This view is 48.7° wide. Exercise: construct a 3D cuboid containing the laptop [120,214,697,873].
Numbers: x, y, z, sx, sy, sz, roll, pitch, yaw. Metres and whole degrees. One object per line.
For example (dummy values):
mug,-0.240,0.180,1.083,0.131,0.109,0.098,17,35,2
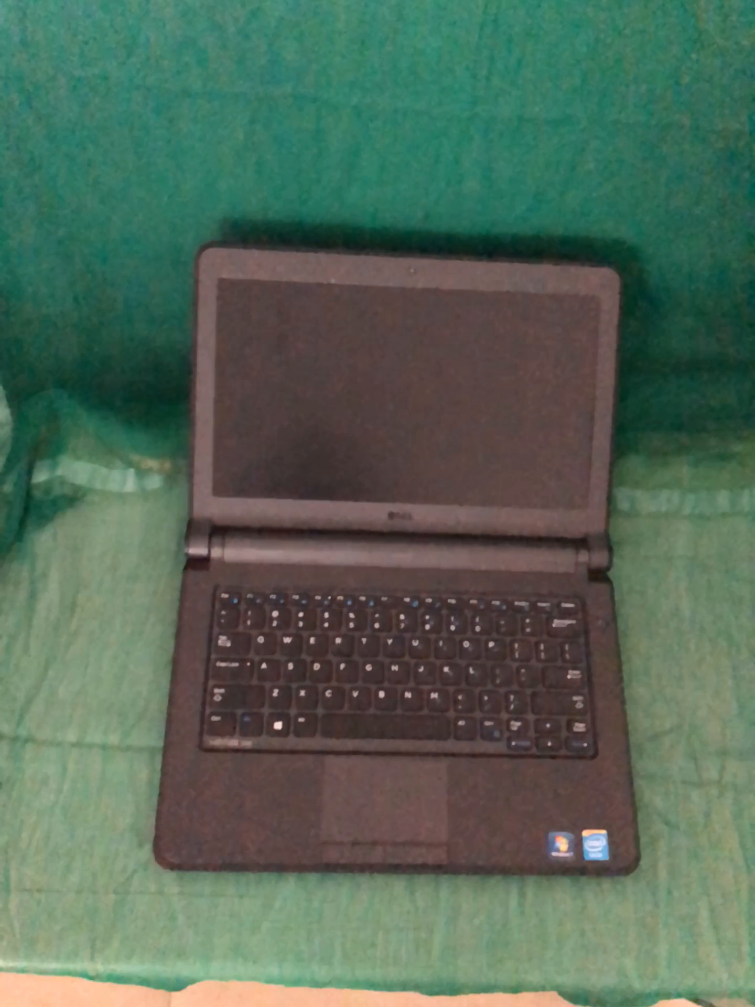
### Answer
laptop,0.020,0.017,0.567,0.311,0.096,0.421,2,69,-3
